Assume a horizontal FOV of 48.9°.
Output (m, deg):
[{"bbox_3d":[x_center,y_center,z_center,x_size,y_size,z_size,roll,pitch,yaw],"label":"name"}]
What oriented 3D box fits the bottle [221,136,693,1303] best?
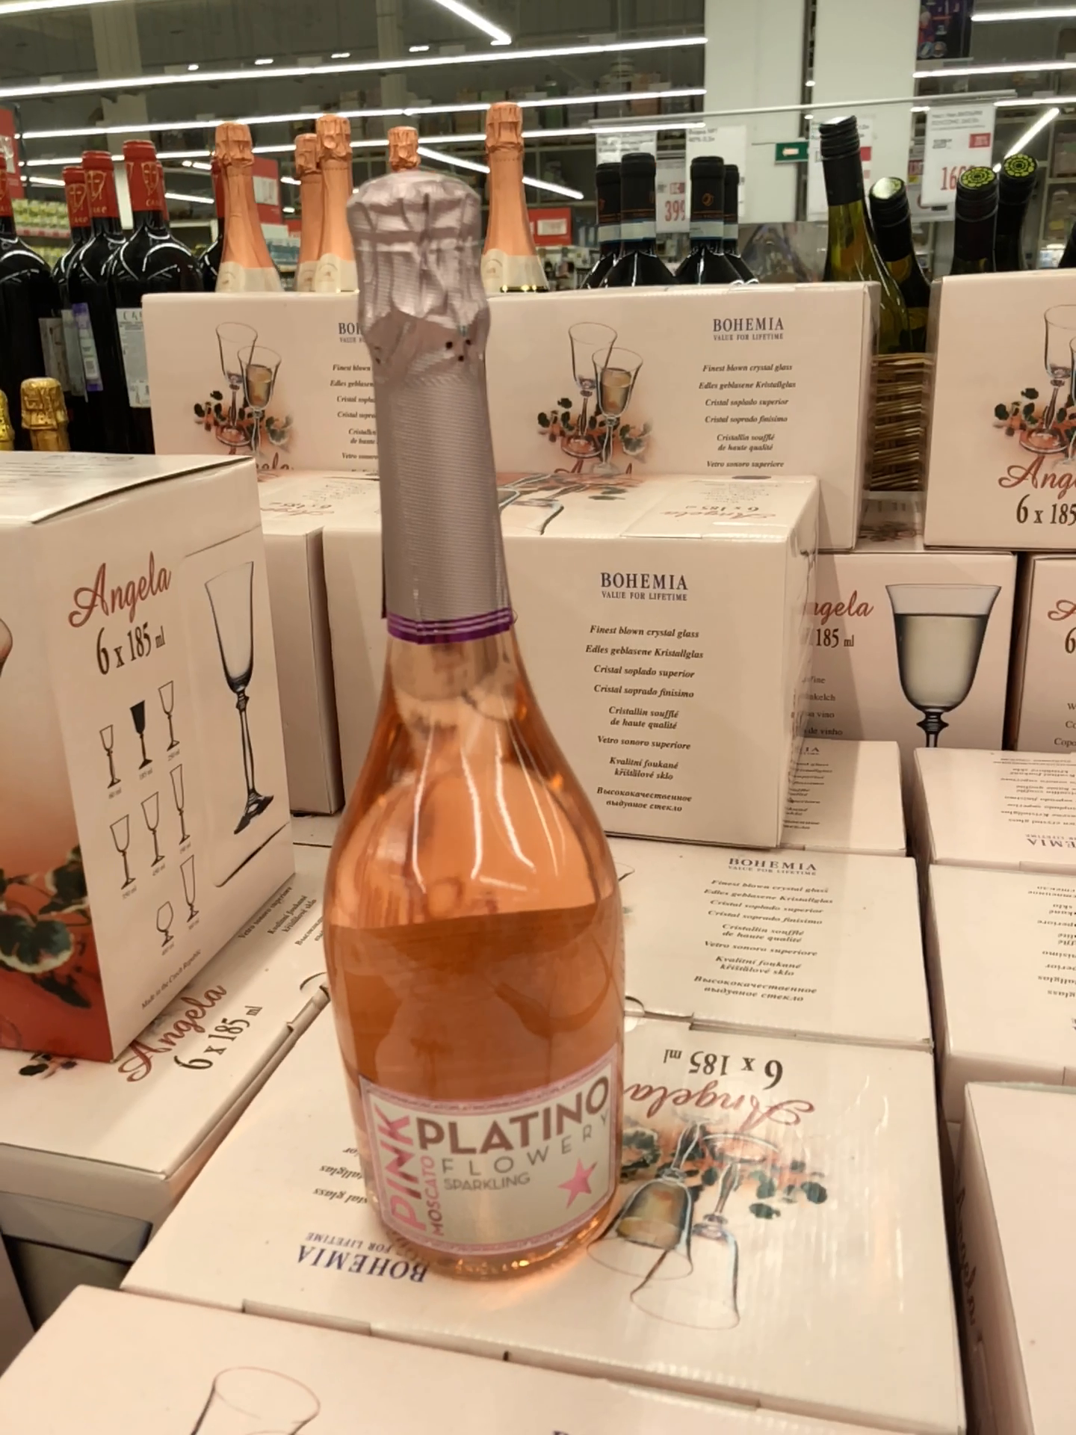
[{"bbox_3d":[-0.016,0.007,0.348,0.100,0.309,0.100,-2,19,1],"label":"bottle"}]
